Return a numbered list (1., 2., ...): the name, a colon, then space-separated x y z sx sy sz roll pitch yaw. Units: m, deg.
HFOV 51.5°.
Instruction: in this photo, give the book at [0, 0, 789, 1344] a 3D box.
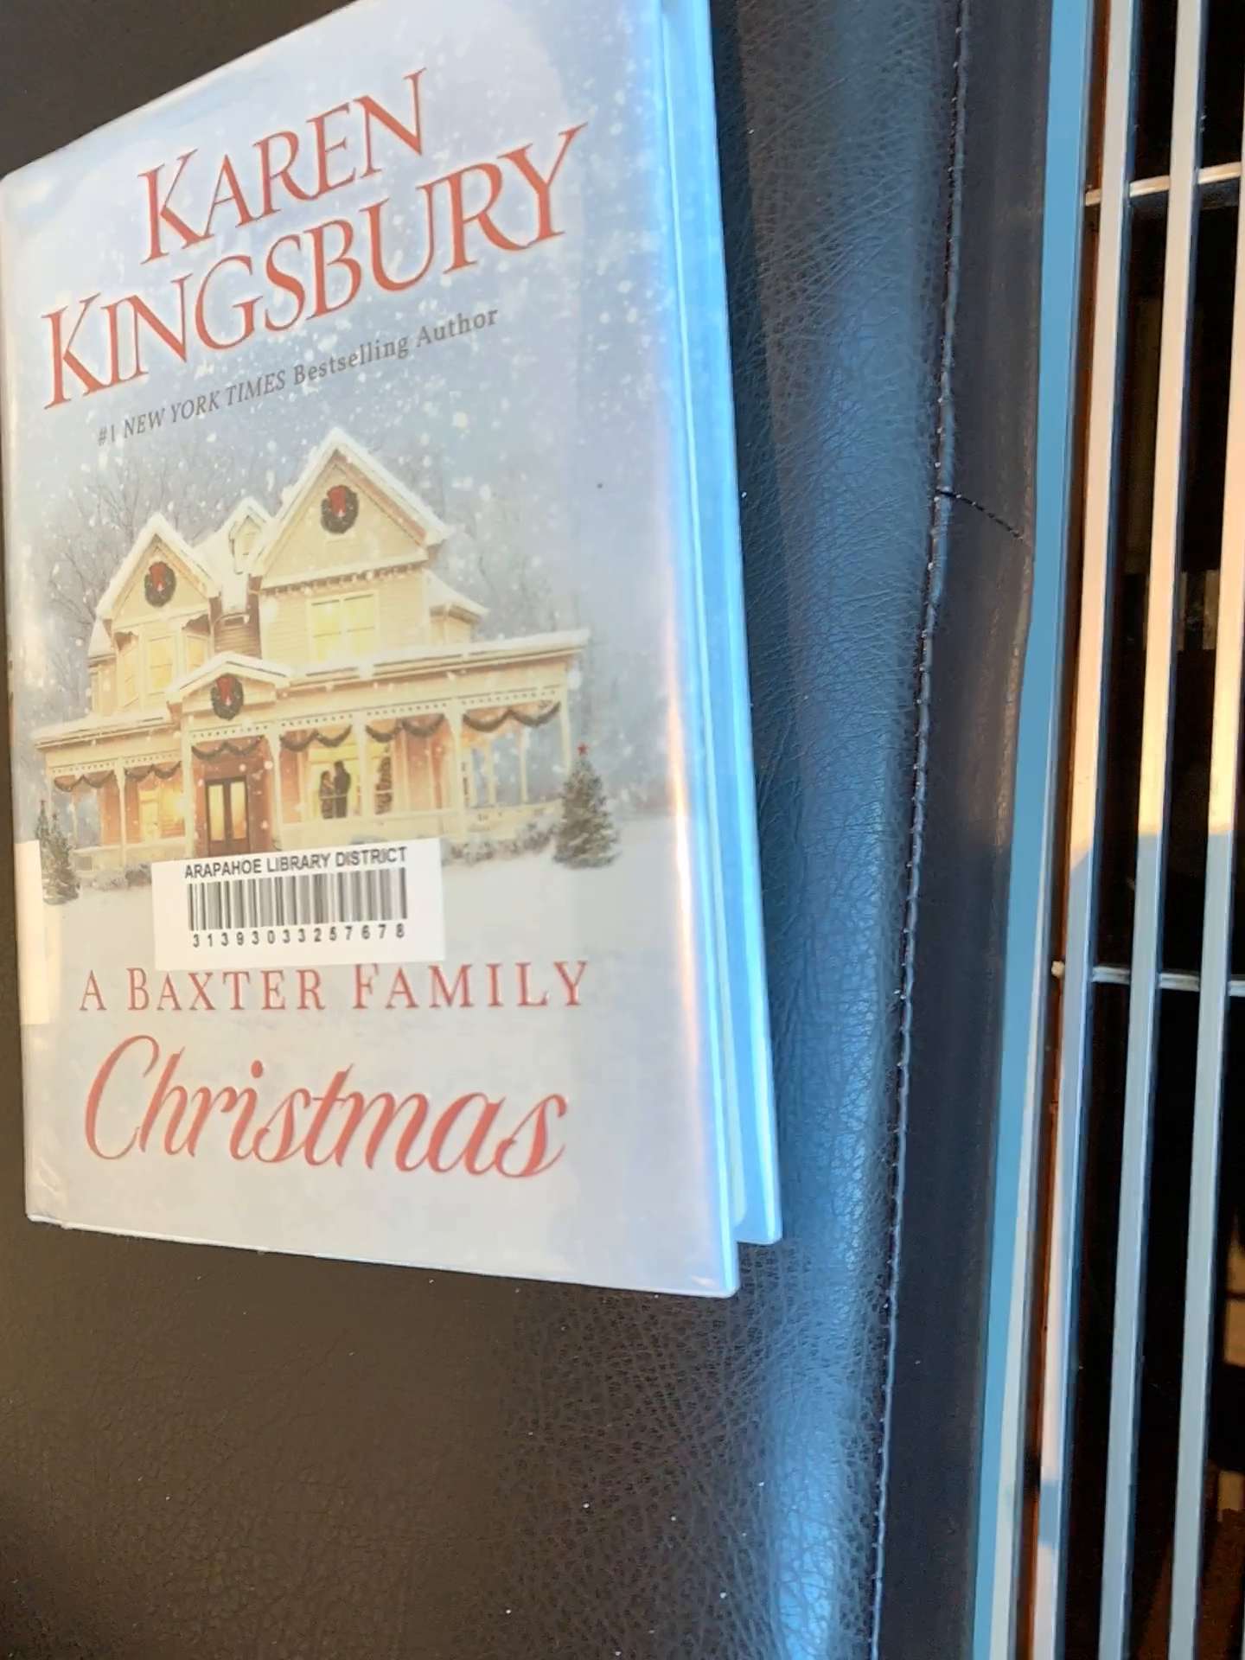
1. book: -0.048 -0.027 0.192 0.135 0.023 0.180 -4 88 29
